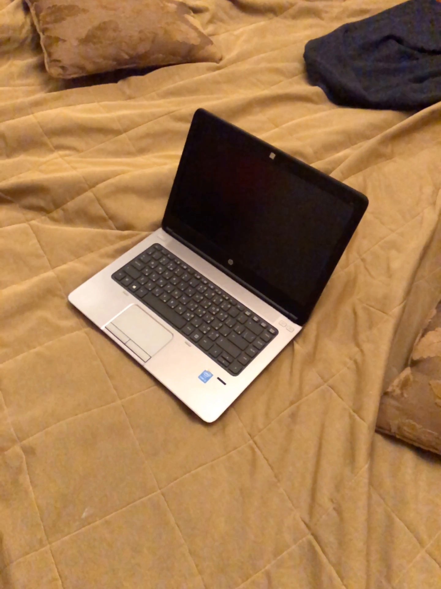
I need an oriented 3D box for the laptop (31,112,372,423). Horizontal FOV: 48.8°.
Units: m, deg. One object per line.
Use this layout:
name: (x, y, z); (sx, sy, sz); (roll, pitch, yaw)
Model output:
laptop: (-0.024, -0.062, 0.754); (0.332, 0.189, 0.339); (36, 62, 24)
